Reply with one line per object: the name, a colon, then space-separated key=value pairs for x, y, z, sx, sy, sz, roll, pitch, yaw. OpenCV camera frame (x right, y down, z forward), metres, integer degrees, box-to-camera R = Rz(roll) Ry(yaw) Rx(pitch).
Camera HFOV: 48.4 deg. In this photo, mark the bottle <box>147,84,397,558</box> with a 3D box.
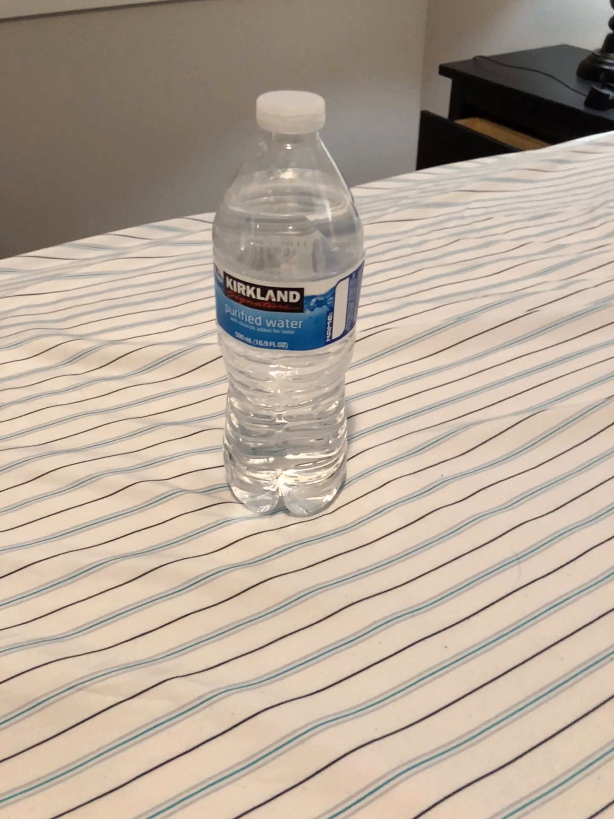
bottle: x=-0.008 y=-0.032 z=0.316 sx=0.070 sy=0.199 sz=0.070 roll=-1 pitch=38 yaw=1
